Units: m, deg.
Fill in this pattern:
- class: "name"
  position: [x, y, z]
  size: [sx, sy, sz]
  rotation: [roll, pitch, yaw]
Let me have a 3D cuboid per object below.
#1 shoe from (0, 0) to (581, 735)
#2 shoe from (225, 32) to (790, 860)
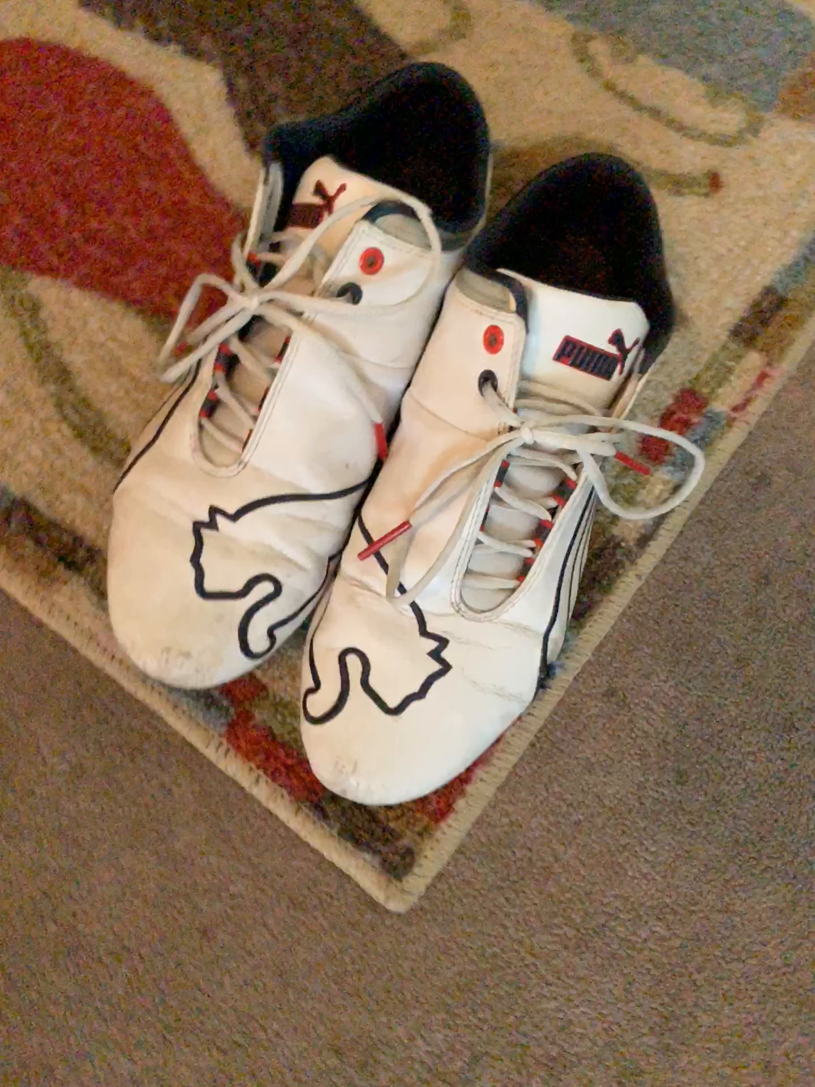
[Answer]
- class: "shoe"
  position: [-0.043, -0.085, 0.341]
  size: [0.100, 0.107, 0.291]
  rotation: [26, 69, 3]
- class: "shoe"
  position: [0.045, -0.041, 0.331]
  size: [0.100, 0.107, 0.291]
  rotation: [23, 69, 2]
